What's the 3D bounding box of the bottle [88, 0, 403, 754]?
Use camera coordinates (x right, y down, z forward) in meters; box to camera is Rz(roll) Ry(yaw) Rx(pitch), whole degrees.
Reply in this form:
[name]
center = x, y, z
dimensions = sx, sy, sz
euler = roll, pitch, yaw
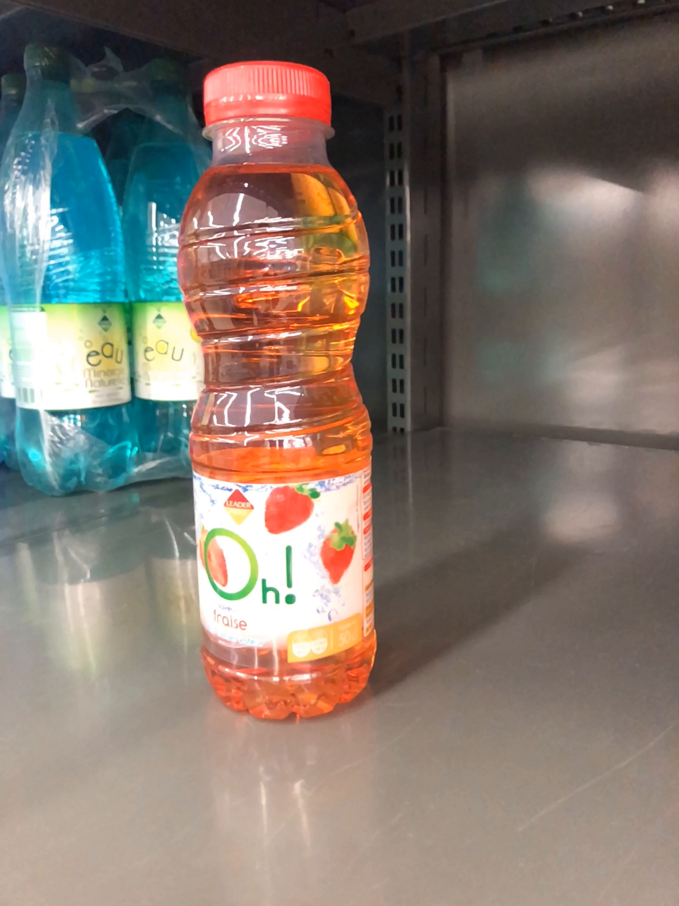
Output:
[bottle]
center = -0.026, -0.023, 0.246
dimensions = 0.070, 0.209, 0.060
euler = 6, 13, 36
